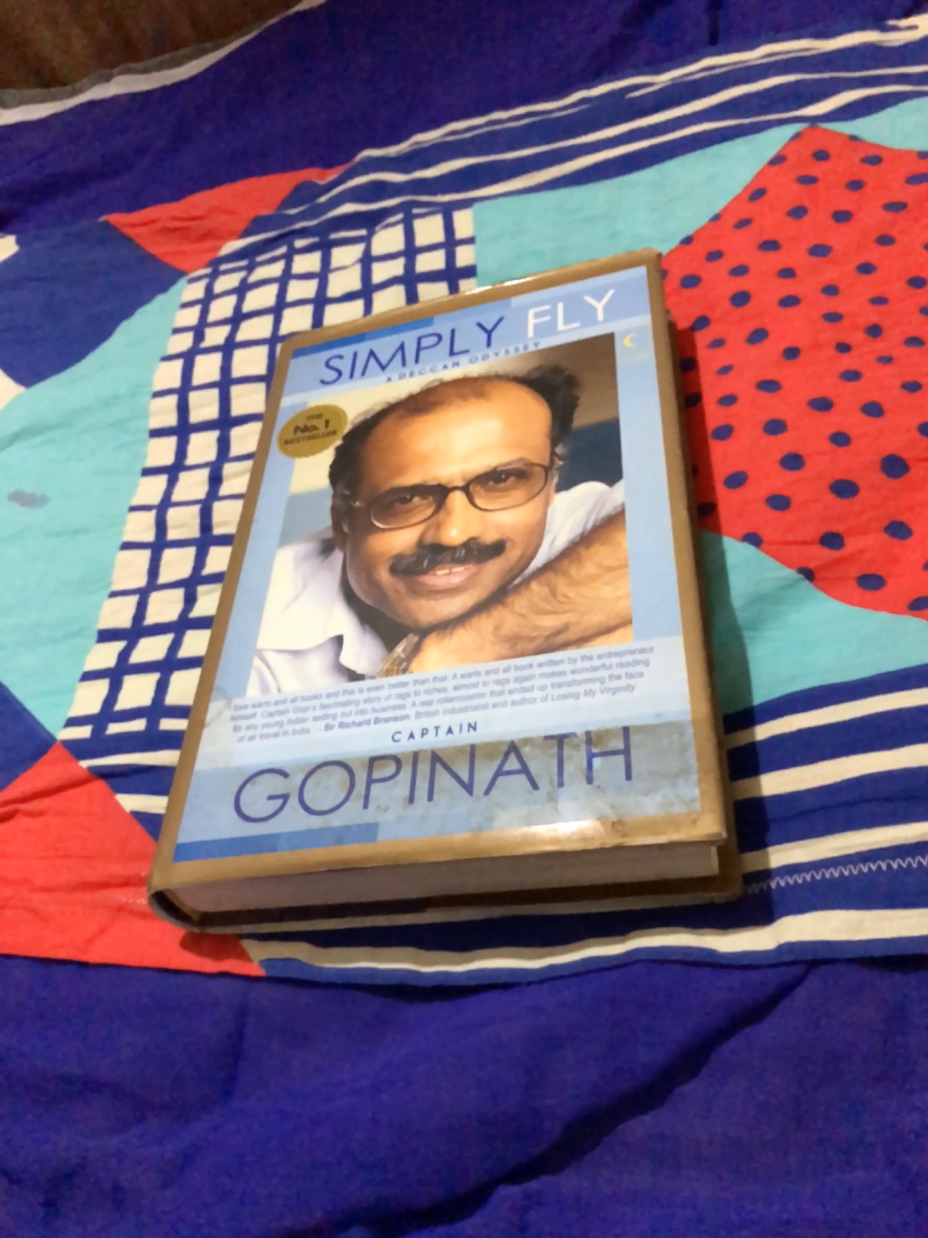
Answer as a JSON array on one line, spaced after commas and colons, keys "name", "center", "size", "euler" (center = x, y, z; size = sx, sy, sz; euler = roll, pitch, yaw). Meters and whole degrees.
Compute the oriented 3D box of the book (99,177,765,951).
[{"name": "book", "center": [-0.004, -0.031, 0.335], "size": [0.160, 0.050, 0.251], "euler": [-8, 53, 14]}]
